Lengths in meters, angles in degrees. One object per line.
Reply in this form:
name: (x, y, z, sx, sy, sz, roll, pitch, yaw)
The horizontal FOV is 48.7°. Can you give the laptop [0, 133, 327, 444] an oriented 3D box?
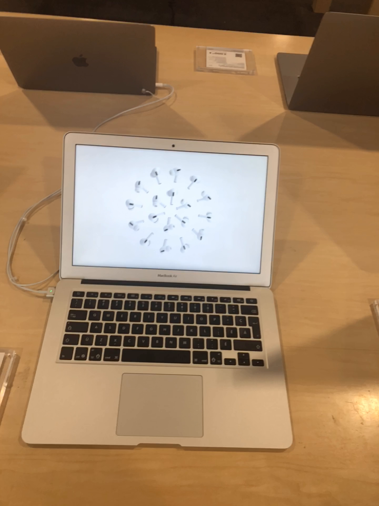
laptop: (-0.029, 0.027, 0.543, 0.302, 0.137, 0.372, 3, 52, -3)
